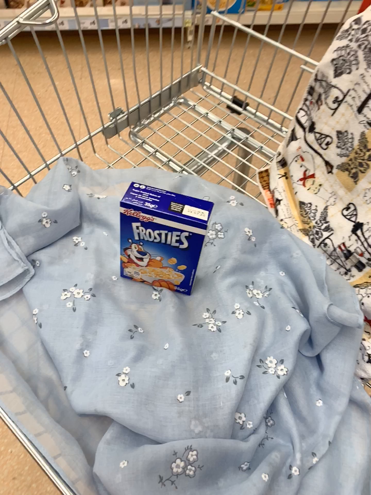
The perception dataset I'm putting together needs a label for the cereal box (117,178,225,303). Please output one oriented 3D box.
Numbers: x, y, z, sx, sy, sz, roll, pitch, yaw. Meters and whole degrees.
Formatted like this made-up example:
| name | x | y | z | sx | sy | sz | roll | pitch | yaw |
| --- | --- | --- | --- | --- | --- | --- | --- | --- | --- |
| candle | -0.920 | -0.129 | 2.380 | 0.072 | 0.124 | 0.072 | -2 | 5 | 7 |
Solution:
| name | x | y | z | sx | sy | sz | roll | pitch | yaw |
| --- | --- | --- | --- | --- | --- | --- | --- | --- | --- |
| cereal box | -0.020 | -0.003 | 0.427 | 0.100 | 0.129 | 0.040 | 16 | 50 | 6 |
